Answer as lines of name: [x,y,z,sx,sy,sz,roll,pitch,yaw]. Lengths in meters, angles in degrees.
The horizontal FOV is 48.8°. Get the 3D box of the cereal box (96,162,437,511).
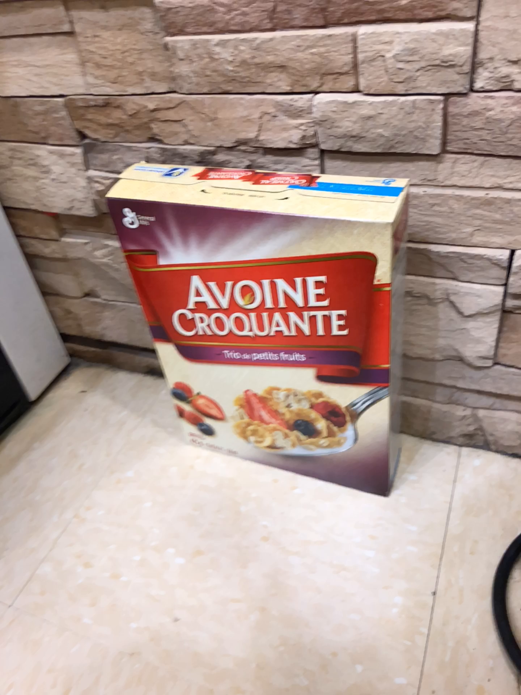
cereal box: [0.014,-0.001,0.427,0.200,0.248,0.060,10,44,22]
